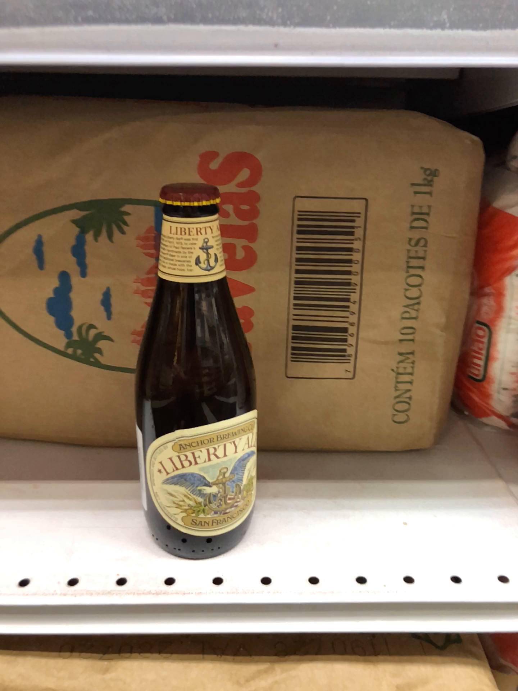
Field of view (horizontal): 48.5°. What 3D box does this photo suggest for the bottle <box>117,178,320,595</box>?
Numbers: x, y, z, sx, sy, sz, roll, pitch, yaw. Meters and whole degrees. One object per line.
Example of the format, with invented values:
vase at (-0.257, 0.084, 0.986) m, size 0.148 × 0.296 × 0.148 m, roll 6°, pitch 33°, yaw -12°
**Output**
bottle at (-0.022, 0.017, 0.293) m, size 0.070 × 0.189 × 0.070 m, roll 1°, pitch 21°, yaw 0°
